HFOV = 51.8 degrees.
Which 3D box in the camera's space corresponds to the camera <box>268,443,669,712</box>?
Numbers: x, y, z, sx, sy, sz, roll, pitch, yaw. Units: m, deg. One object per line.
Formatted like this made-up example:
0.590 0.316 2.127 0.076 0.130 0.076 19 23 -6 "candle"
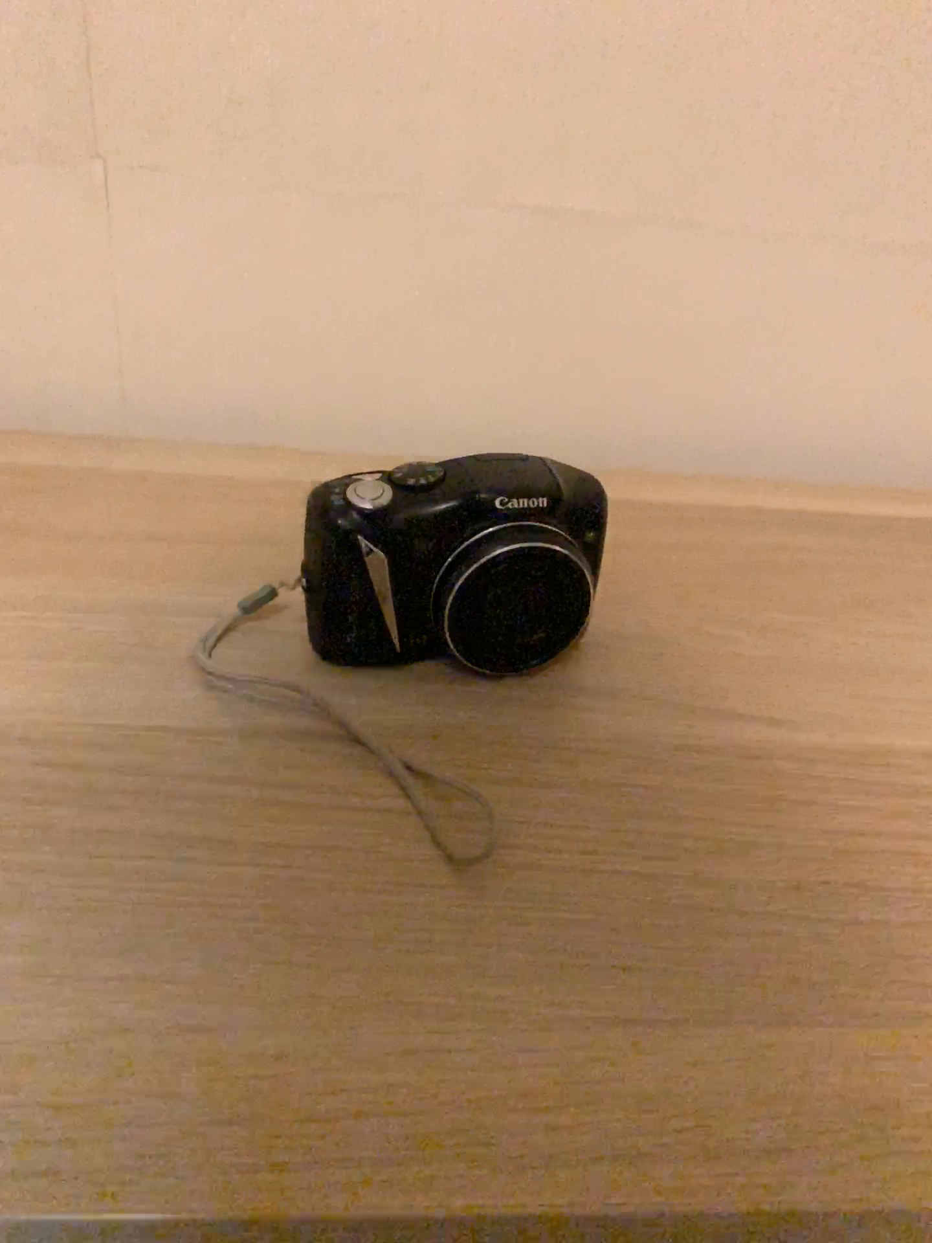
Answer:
-0.003 -0.020 0.339 0.120 0.059 0.069 -6 33 -19 "camera"
